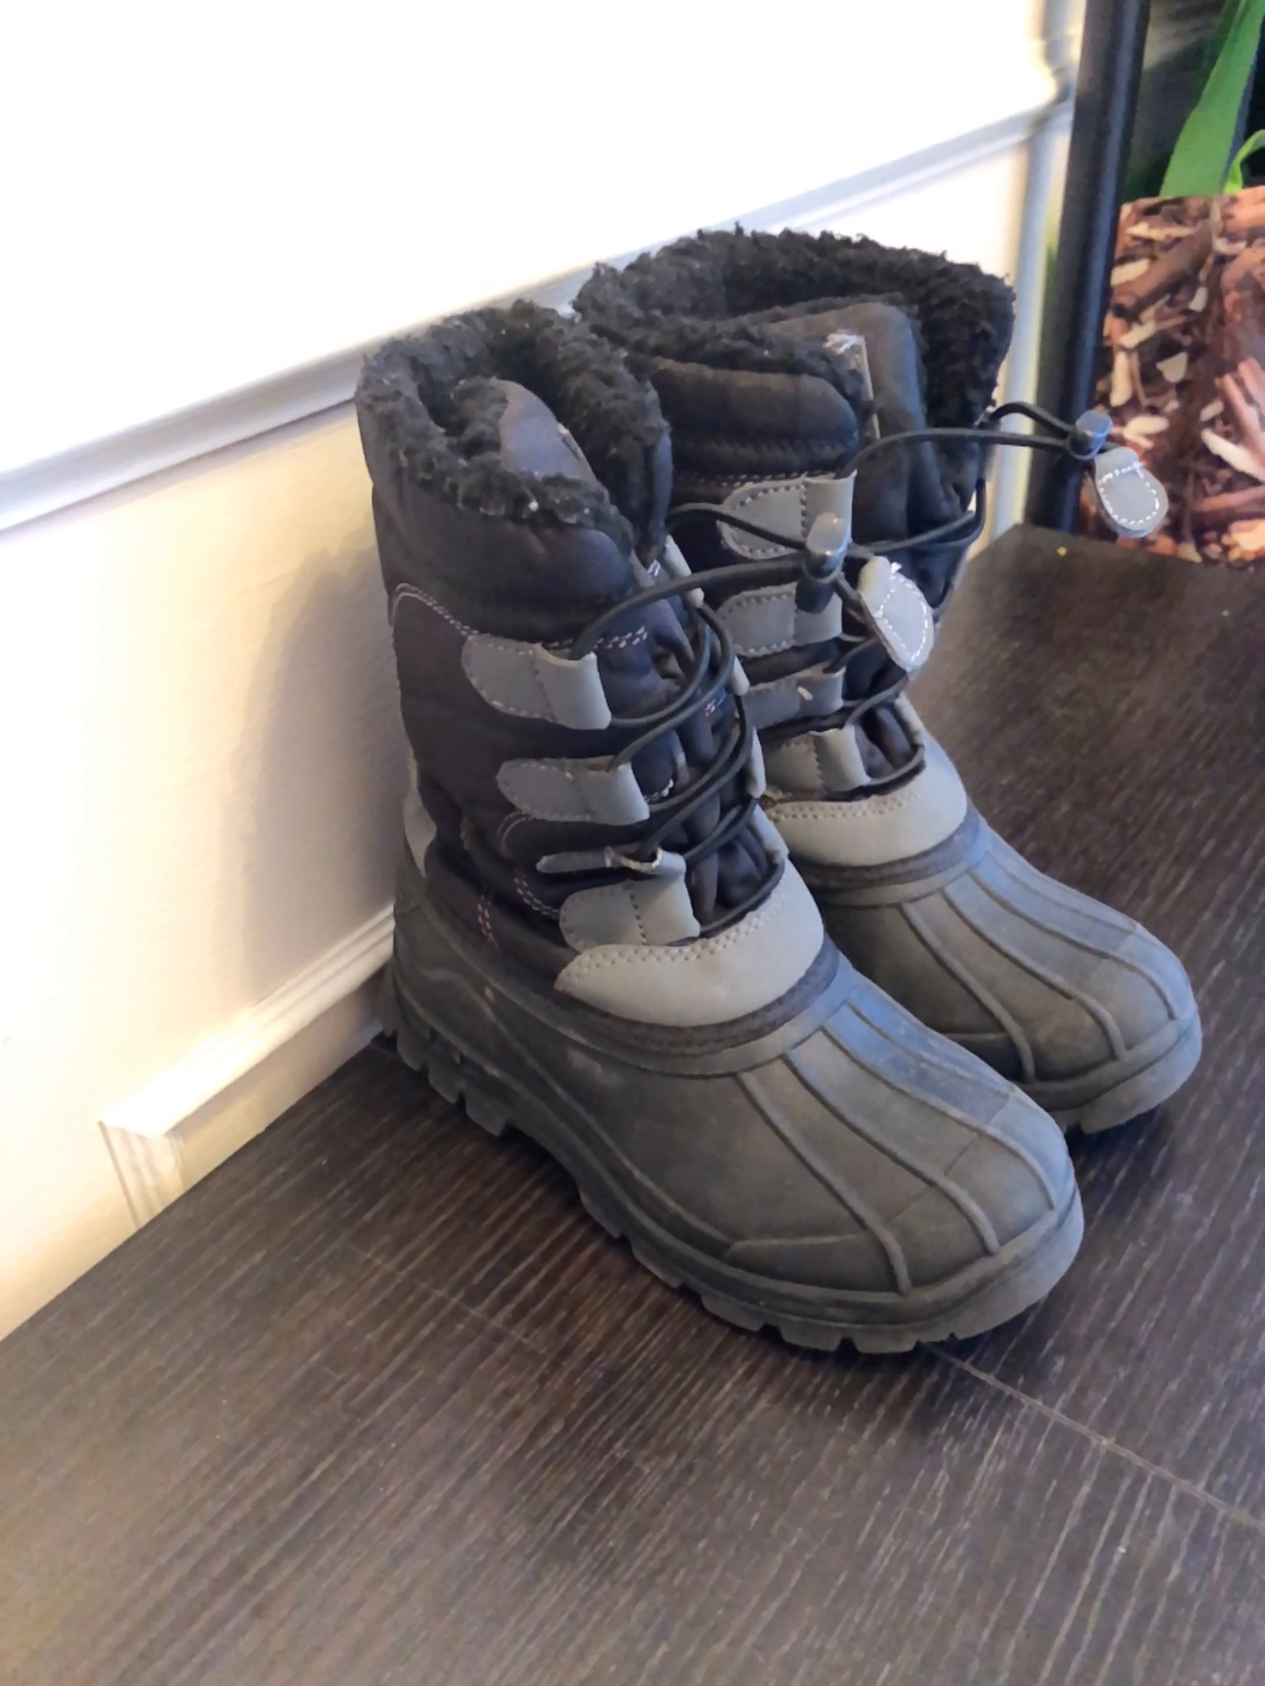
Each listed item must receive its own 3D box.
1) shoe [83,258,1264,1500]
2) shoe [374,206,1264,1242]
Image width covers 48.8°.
[{"bbox_3d":[0.005,-0.006,0.329,0.221,0.209,0.100,22,41,32],"label":"shoe"},{"bbox_3d":[0.056,-0.045,0.384,0.221,0.209,0.100,22,41,32],"label":"shoe"}]
